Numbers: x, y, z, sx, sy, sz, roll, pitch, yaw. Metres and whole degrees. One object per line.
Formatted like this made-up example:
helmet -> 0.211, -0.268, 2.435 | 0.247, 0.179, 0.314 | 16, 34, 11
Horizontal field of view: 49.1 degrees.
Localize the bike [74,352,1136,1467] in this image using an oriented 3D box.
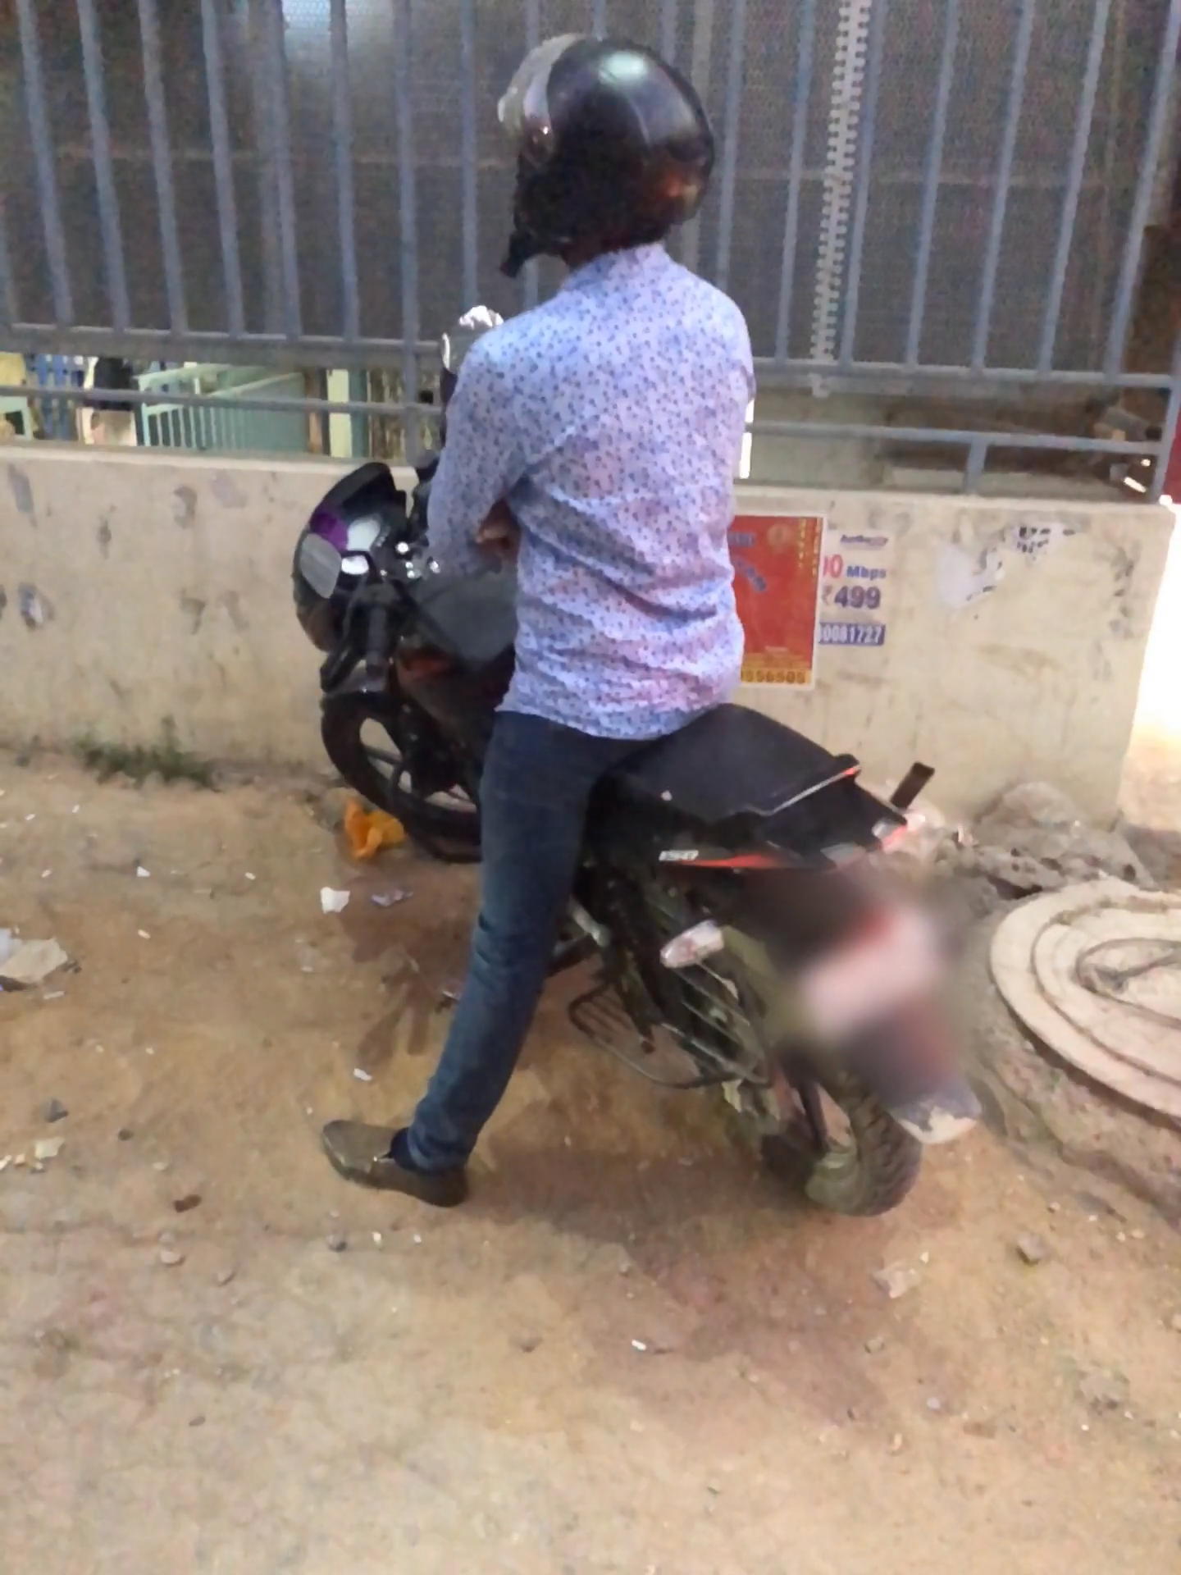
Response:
bike -> -0.187, -0.056, 2.283 | 0.748, 1.144, 1.806 | -14, 29, -33
